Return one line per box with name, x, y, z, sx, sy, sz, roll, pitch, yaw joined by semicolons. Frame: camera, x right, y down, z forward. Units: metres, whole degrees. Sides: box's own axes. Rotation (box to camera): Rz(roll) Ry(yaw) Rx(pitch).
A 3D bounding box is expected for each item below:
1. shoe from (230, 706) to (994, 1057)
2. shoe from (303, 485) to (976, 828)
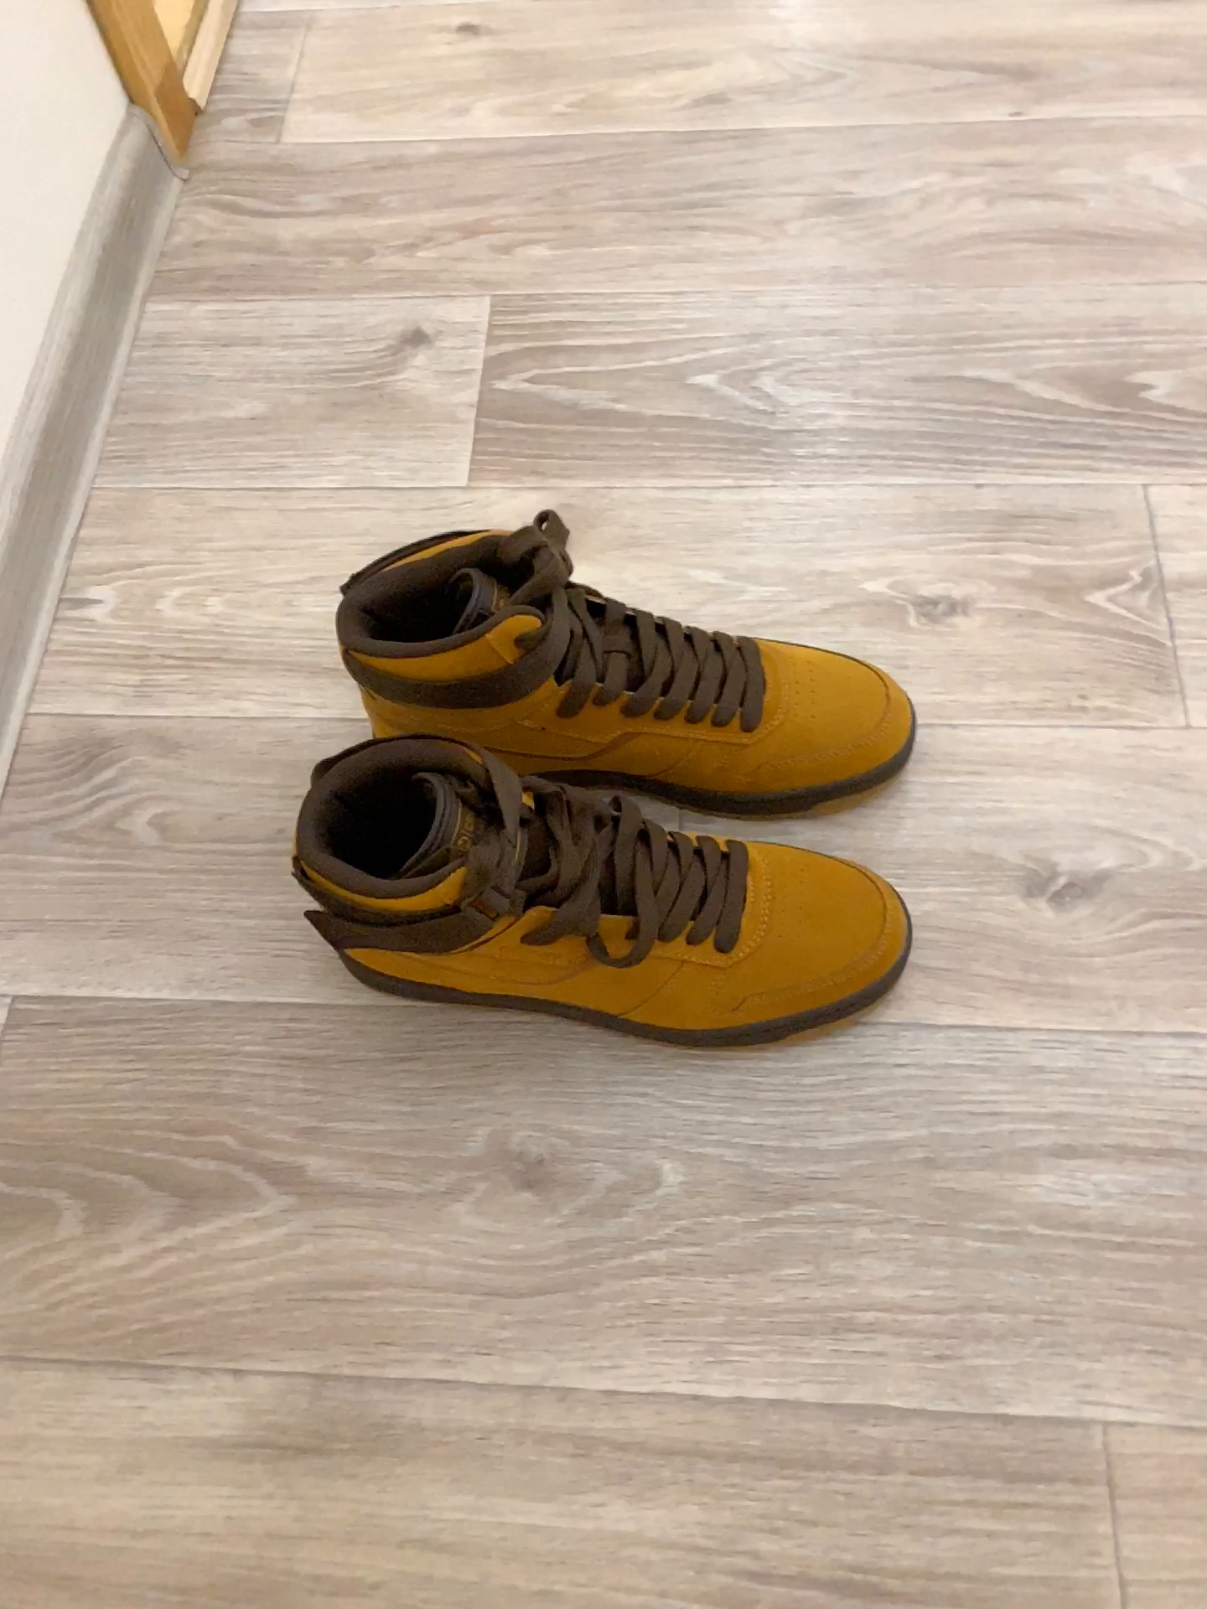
shoe;0.006;0.038;0.536;0.280;0.140;0.101;0;63;5
shoe;0.018;-0.065;0.598;0.280;0.140;0.101;0;63;5
